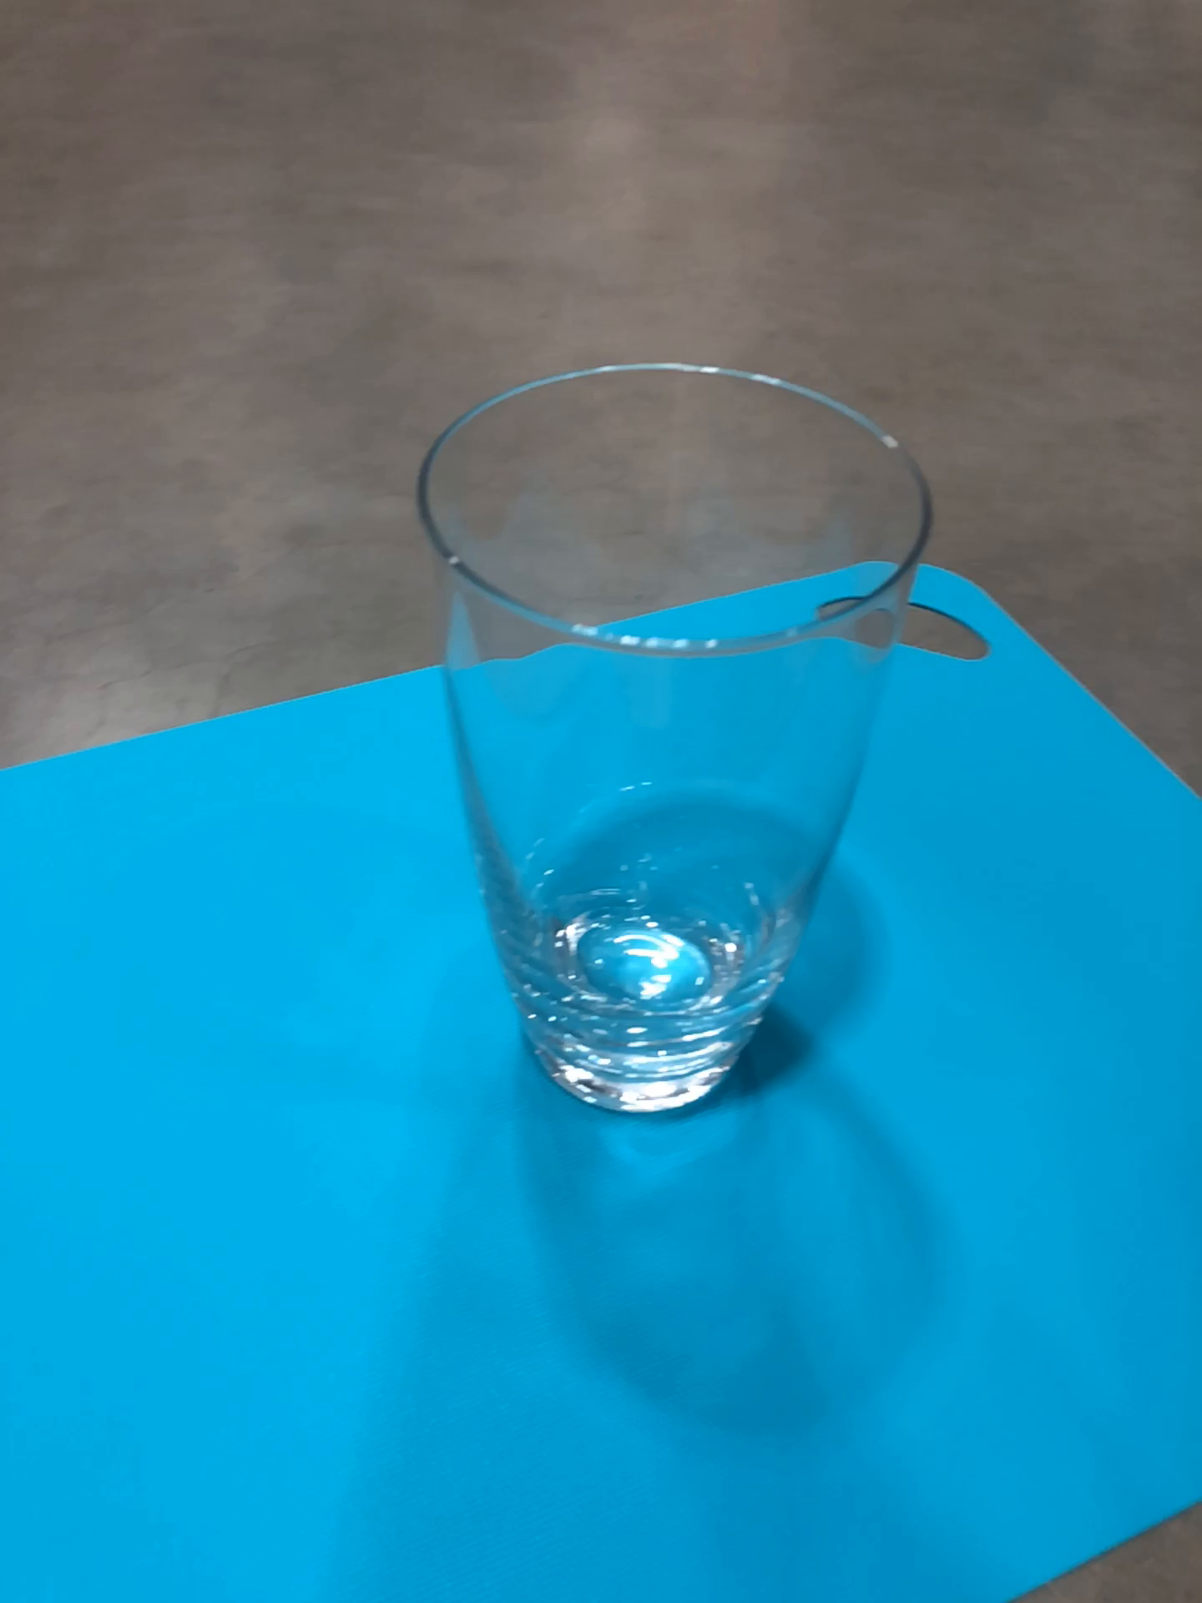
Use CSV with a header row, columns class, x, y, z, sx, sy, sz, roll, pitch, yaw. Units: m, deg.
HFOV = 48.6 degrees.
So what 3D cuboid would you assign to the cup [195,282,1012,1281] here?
class,x,y,z,sx,sy,sz,roll,pitch,yaw
cup,0.001,-0.002,0.283,0.100,0.159,0.100,1,44,-1
